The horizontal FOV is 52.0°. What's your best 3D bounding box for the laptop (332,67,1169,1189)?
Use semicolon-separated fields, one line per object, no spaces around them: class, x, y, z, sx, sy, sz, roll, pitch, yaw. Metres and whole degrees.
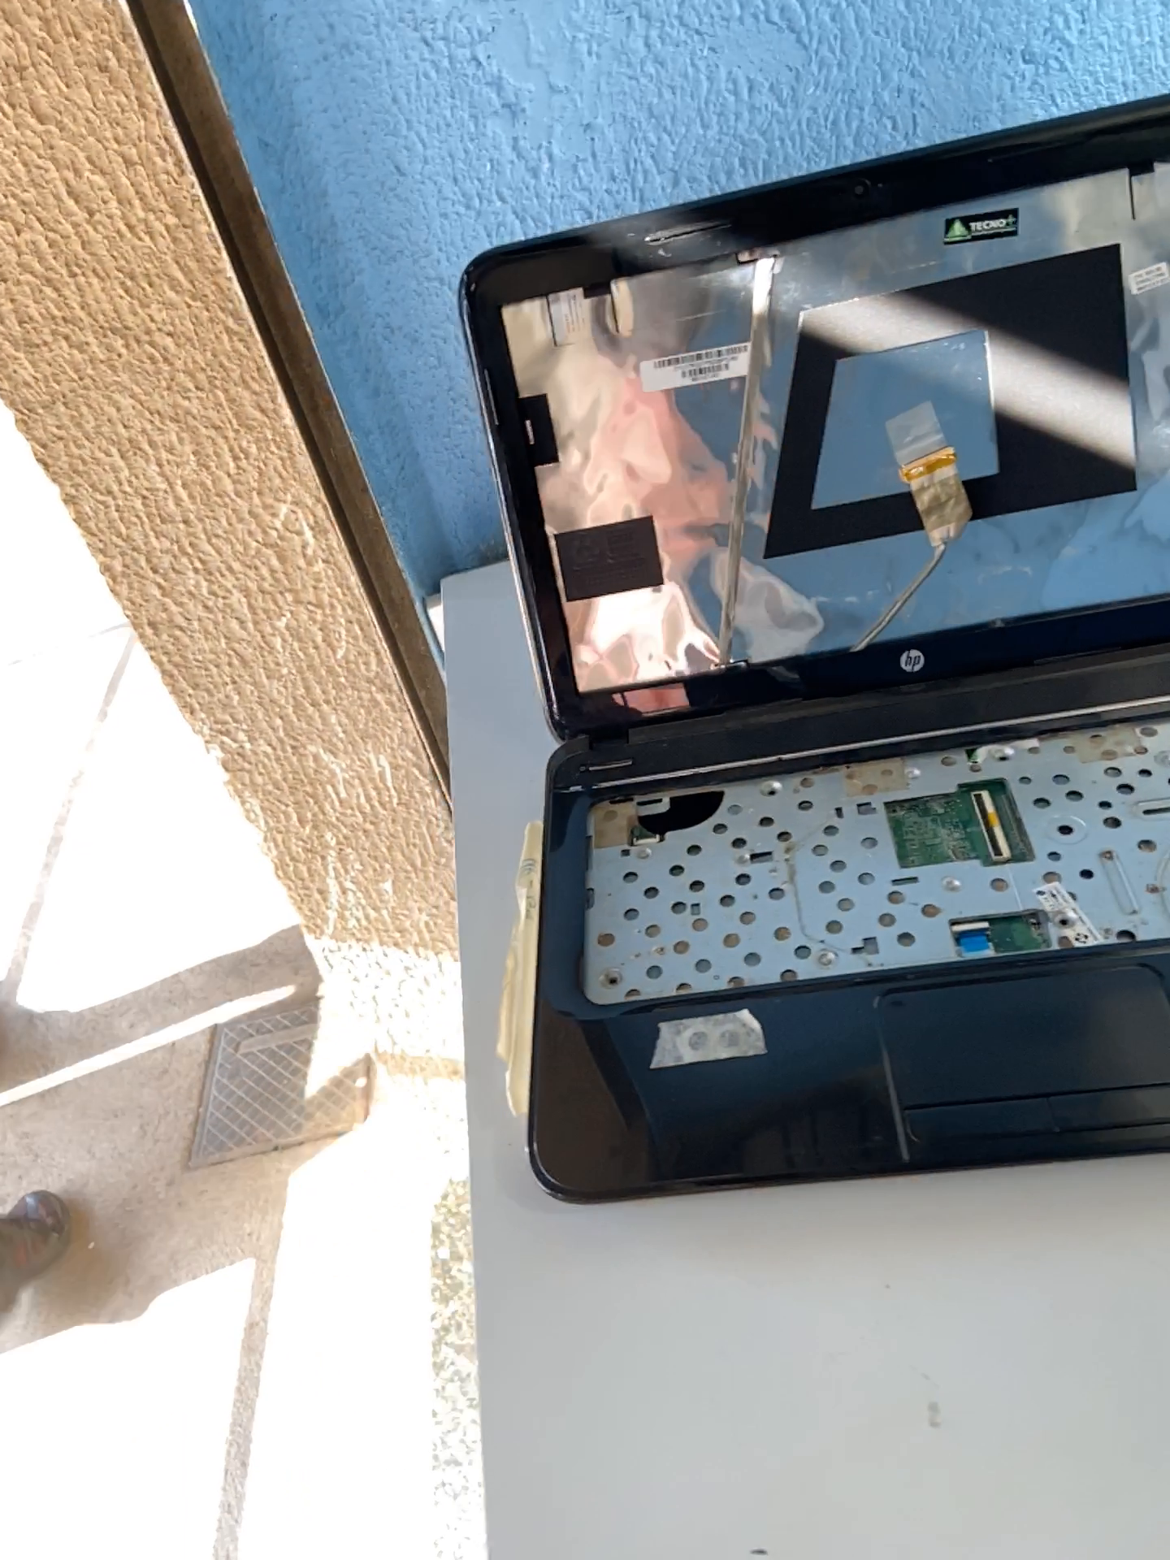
laptop;0.128;-0.071;0.430;0.335;0.186;0.326;-9;41;9
